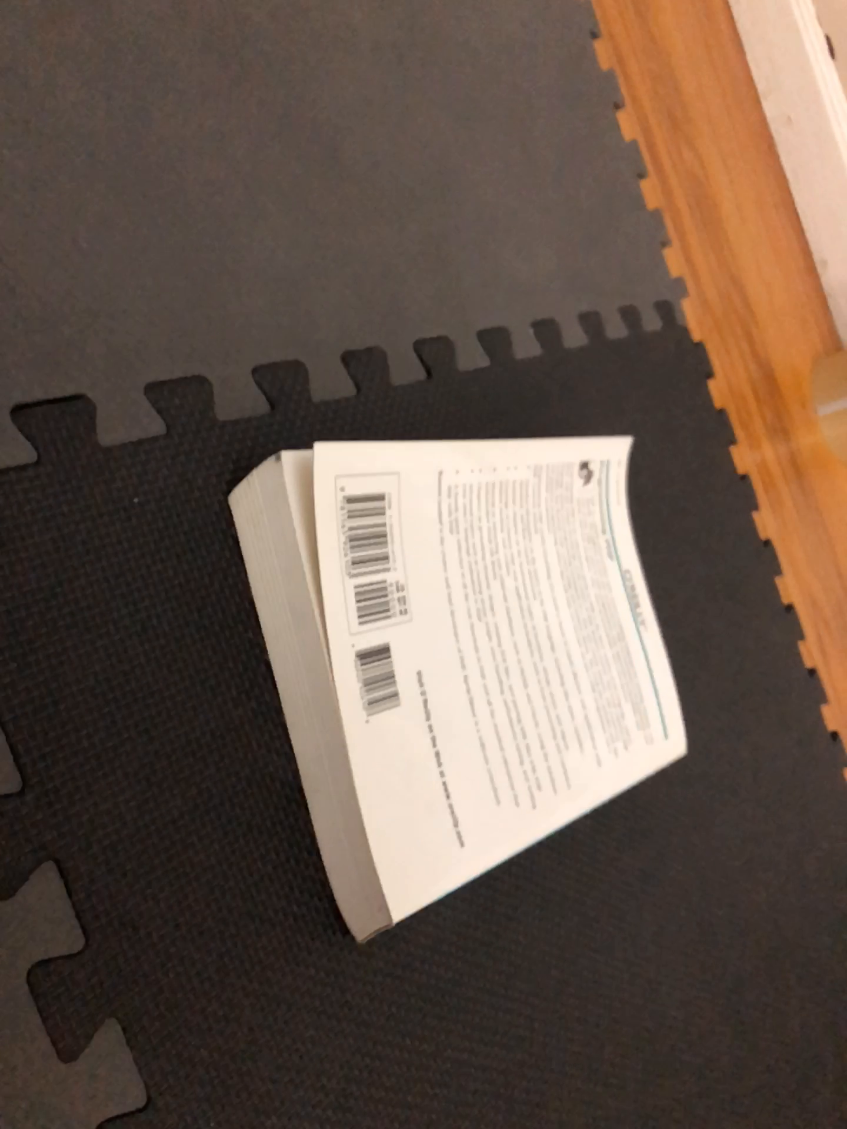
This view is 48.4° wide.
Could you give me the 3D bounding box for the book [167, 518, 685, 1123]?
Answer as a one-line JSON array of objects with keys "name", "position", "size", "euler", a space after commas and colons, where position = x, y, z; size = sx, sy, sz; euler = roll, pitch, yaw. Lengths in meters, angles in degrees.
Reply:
[{"name": "book", "position": [0.024, 0.101, 0.506], "size": [0.292, 0.040, 0.230], "euler": [-9, 84, -47]}]
